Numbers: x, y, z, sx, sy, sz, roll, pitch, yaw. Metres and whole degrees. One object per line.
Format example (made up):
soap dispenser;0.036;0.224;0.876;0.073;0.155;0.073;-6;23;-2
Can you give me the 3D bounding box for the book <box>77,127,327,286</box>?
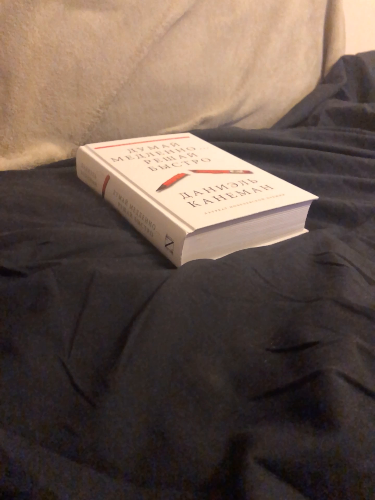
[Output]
book;0.000;-0.063;0.421;0.149;0.050;0.220;-16;37;-30
